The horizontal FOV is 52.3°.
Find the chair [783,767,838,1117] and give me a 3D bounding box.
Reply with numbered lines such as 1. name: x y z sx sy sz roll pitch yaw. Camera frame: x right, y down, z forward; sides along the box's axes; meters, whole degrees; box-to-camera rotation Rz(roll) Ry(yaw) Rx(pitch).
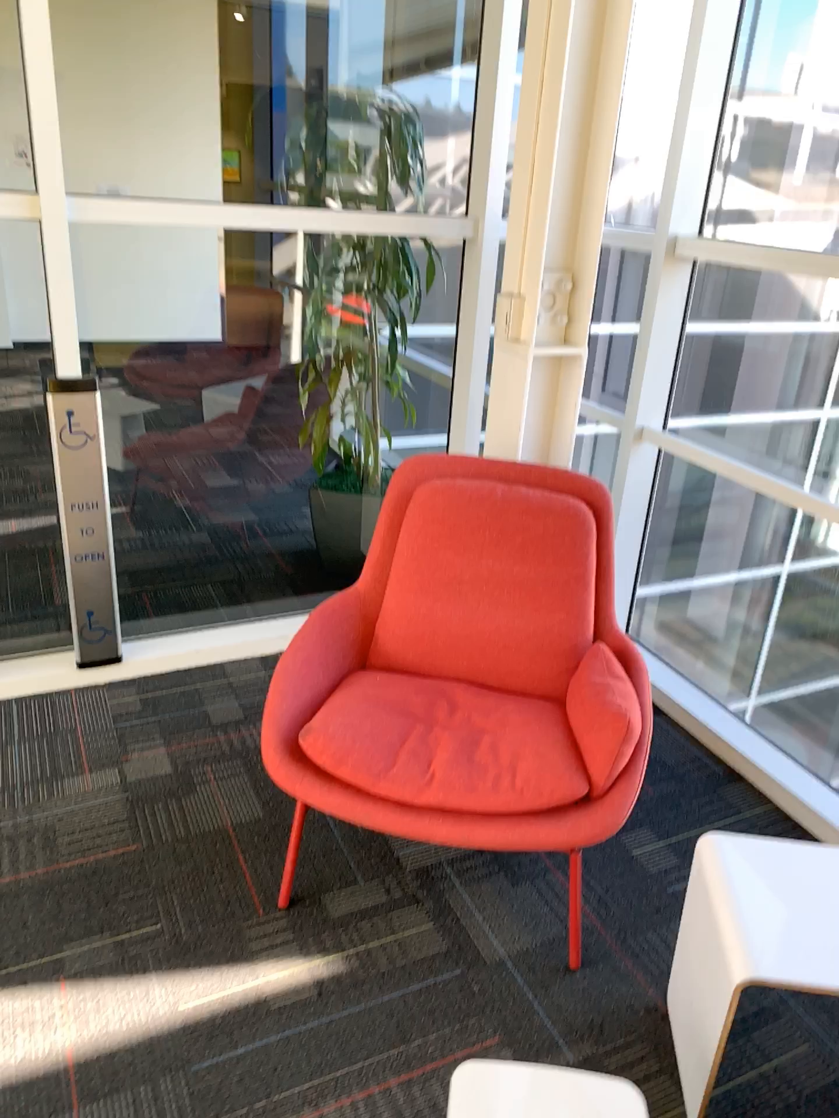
1. chair: 1.032 0.968 0.853 0.921 0.995 0.873 9 24 10

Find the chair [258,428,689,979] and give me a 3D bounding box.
1. chair: 0.134 0.316 2.290 0.871 1.055 0.823 8 24 8
